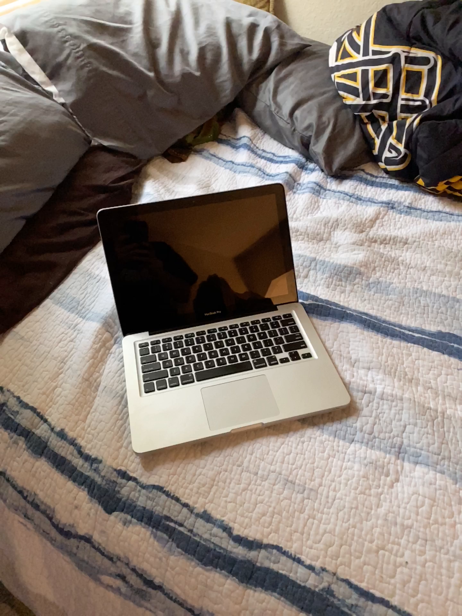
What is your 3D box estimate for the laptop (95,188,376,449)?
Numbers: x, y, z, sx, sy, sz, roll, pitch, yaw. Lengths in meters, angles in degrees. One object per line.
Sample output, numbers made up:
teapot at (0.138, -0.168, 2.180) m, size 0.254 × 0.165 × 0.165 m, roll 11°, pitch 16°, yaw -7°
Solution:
laptop at (-0.022, -0.007, 0.728) m, size 0.319 × 0.169 × 0.348 m, roll -11°, pitch 44°, yaw -8°
